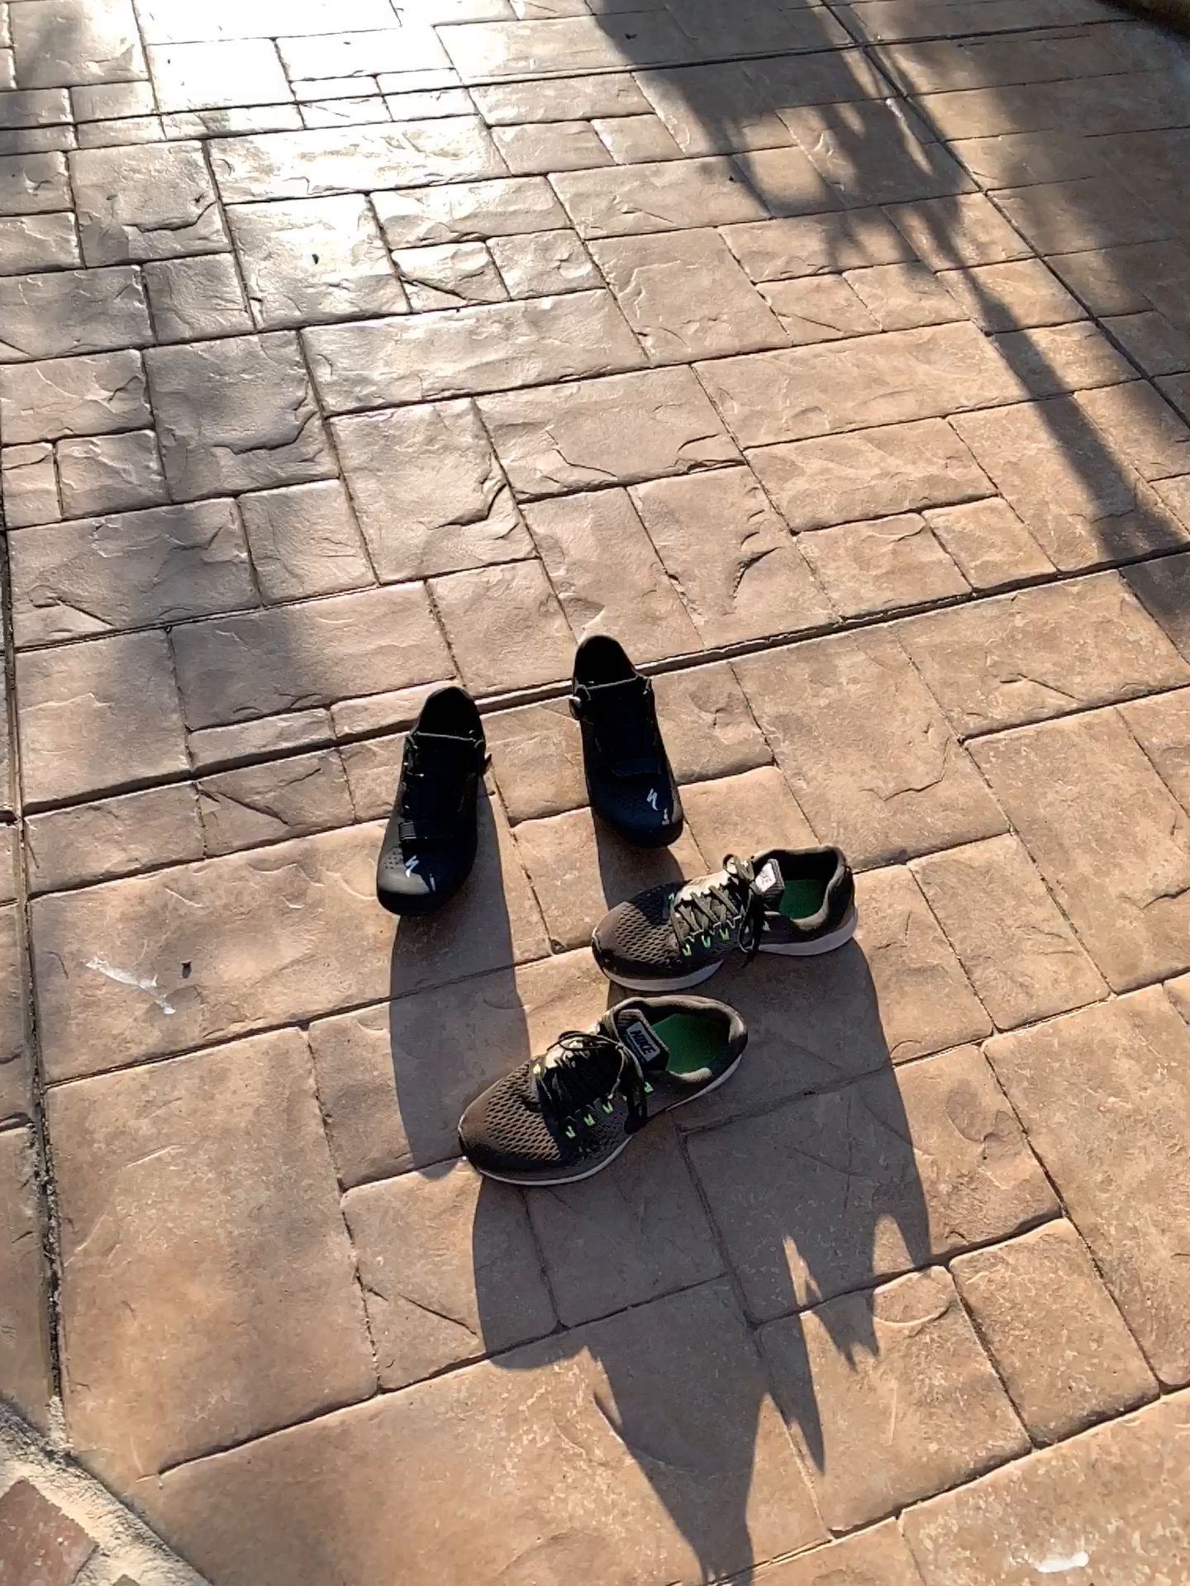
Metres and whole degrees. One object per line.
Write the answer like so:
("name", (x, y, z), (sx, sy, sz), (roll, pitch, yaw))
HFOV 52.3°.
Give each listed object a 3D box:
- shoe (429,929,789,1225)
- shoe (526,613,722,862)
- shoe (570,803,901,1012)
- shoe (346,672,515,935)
("shoe", (0.009, 0.255, 1.109), (0.290, 0.110, 0.130), (-20, 59, -19))
("shoe", (0.025, -0.067, 1.309), (0.130, 0.050, 0.281), (-11, 56, -14))
("shoe", (0.135, 0.112, 1.210), (0.290, 0.090, 0.131), (-9, 56, -13))
("shoe", (-0.164, 0.004, 1.256), (0.110, 0.050, 0.281), (10, 54, 1))
